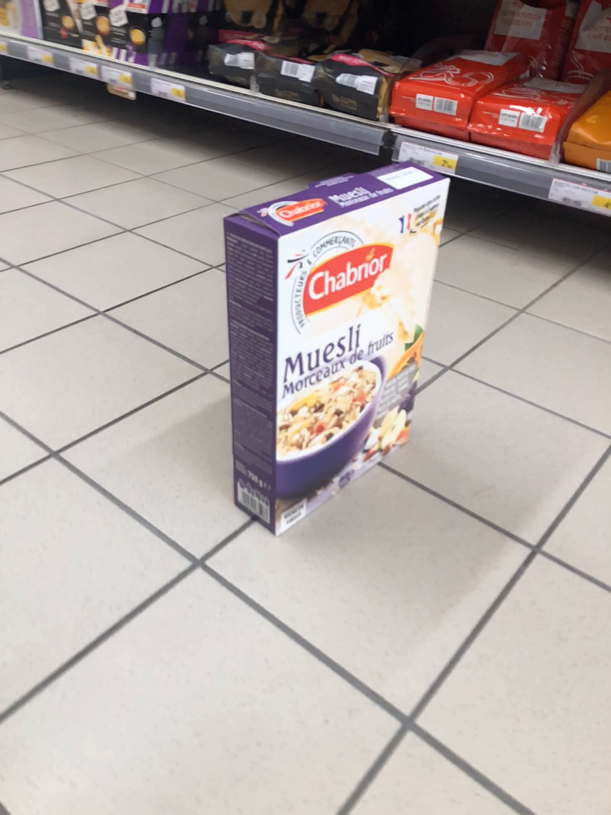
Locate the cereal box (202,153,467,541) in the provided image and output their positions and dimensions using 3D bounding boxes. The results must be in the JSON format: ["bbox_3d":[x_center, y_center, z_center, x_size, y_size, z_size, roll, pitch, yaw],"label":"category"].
[{"bbox_3d":[0.024,-0.053,0.554,0.070,0.258,0.211,30,43,33],"label":"cereal box"}]
